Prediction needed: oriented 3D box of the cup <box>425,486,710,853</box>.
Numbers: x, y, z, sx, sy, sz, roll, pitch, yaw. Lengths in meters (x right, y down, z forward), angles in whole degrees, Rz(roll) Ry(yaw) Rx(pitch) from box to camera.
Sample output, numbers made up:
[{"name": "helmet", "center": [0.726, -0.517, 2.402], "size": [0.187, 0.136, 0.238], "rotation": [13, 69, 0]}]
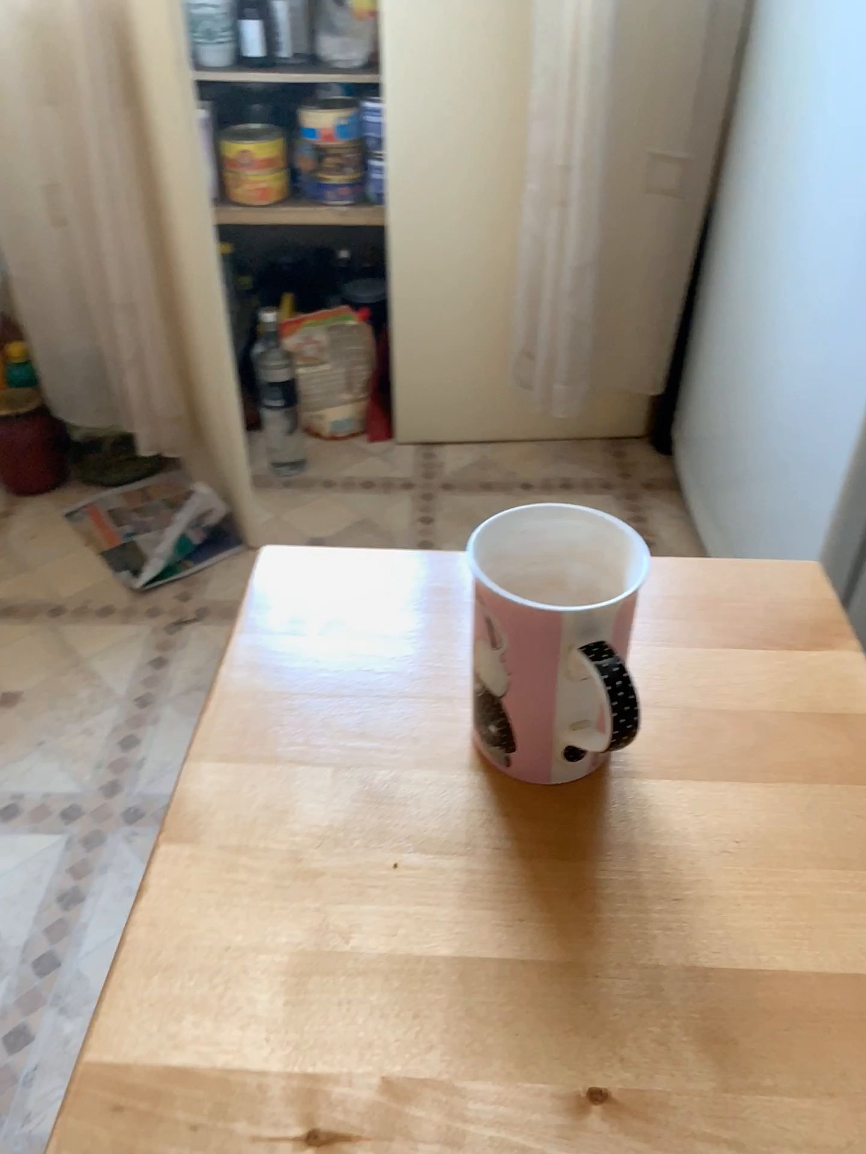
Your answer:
[{"name": "cup", "center": [0.049, 0.036, 0.389], "size": [0.080, 0.099, 0.111], "rotation": [-9, 37, -11]}]
